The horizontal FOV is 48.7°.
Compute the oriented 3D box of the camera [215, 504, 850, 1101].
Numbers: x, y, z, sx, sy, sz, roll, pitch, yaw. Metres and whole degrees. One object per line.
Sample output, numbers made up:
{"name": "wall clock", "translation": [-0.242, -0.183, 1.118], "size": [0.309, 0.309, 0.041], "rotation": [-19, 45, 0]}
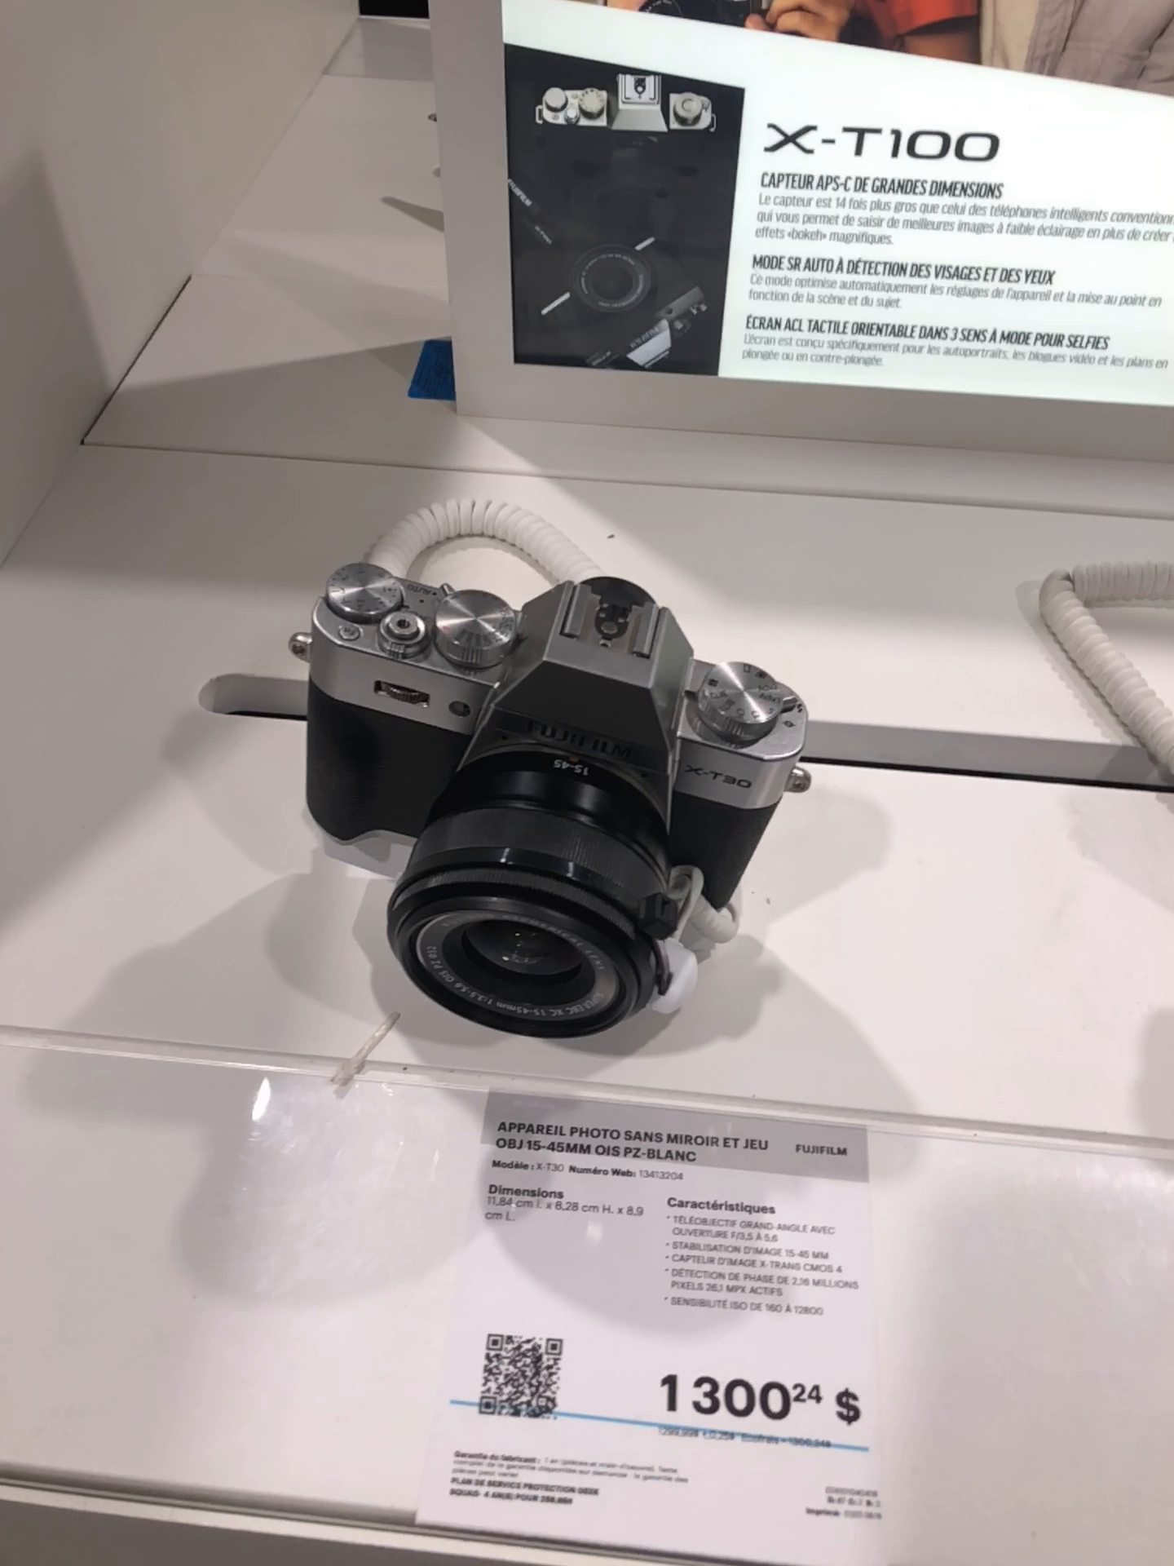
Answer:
{"name": "camera", "translation": [-0.011, 0.005, 0.335], "size": [0.130, 0.089, 0.091], "rotation": [13, 48, 4]}
